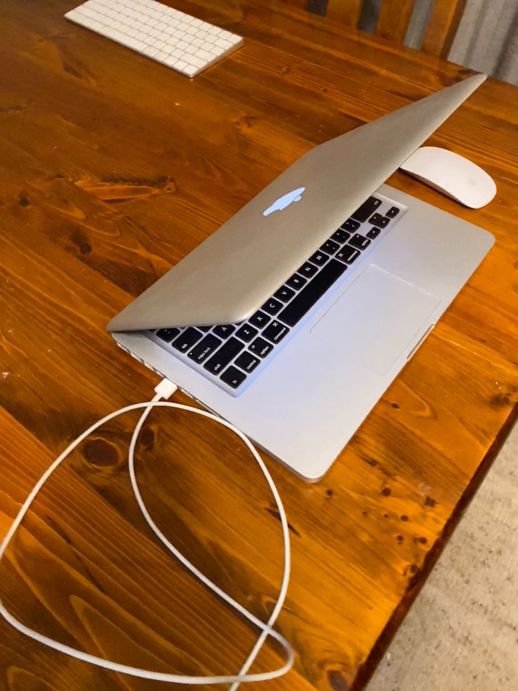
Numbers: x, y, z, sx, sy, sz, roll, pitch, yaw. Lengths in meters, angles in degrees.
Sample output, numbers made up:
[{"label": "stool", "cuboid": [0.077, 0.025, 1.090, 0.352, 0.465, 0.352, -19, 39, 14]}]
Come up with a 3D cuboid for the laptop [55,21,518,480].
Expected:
[{"label": "laptop", "cuboid": [0.049, -0.098, 0.430, 0.211, 0.136, 0.311, 33, 62, 20]}]
